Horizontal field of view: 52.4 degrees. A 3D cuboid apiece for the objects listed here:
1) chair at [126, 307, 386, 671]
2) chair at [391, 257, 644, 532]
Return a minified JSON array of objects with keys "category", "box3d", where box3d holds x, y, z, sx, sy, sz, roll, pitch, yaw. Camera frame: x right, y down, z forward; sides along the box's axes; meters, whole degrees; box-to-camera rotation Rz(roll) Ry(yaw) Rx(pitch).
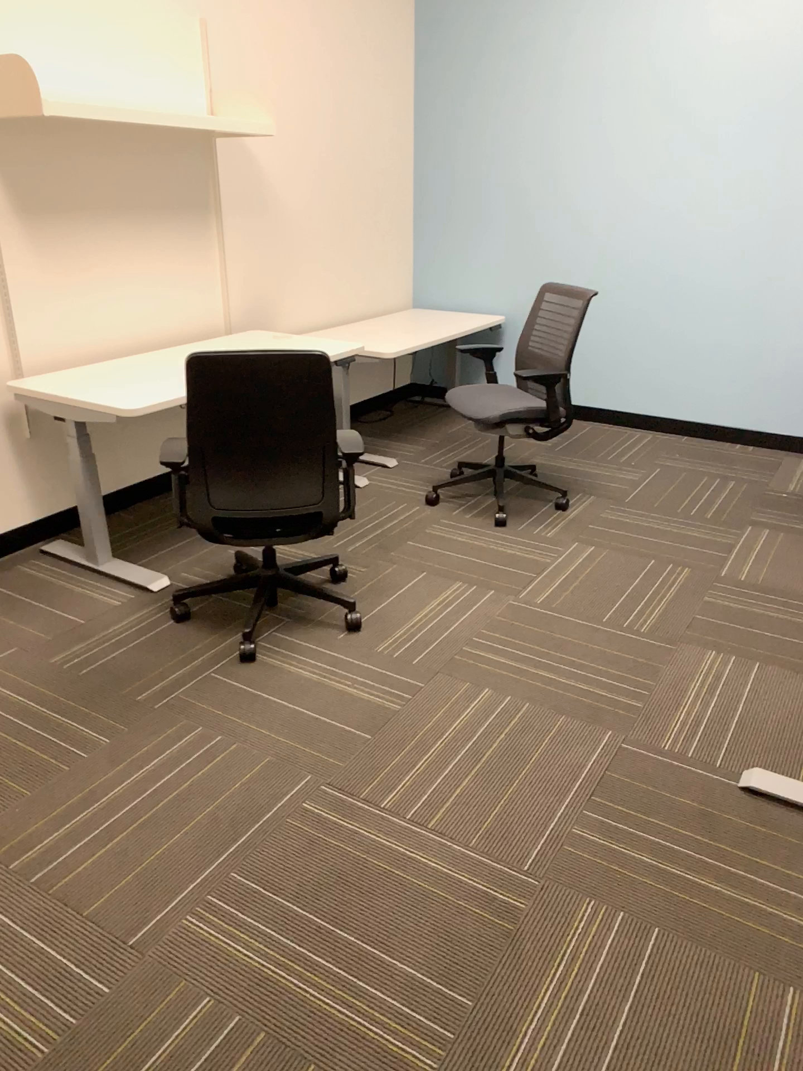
[{"category":"chair","box3d":[-0.467,-0.206,2.673,0.680,0.935,0.774,-5,23,-13]},{"category":"chair","box3d":[0.443,-0.681,3.648,0.770,0.995,0.895,-6,24,-14]}]
